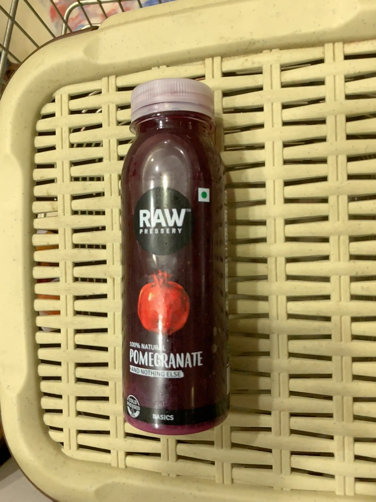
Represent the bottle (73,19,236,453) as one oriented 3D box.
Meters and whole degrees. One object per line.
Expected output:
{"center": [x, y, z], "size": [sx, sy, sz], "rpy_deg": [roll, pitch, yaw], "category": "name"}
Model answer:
{"center": [-0.011, -0.005, 0.175], "size": [0.060, 0.050, 0.160], "rpy_deg": [0, 91, 13], "category": "bottle"}
